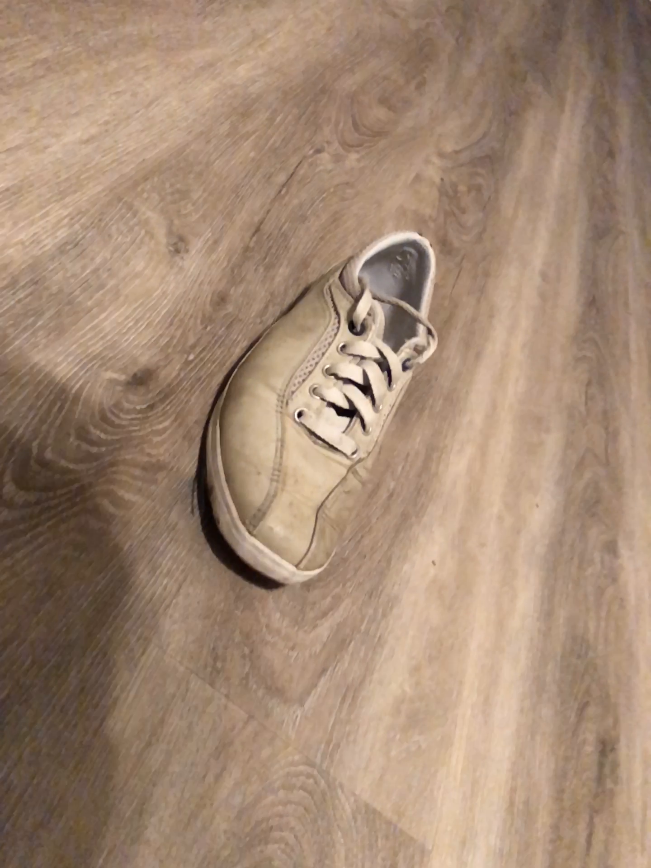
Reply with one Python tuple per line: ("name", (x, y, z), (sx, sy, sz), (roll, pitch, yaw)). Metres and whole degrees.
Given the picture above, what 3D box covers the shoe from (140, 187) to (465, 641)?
("shoe", (0.006, -0.028, 0.394), (0.090, 0.070, 0.251), (41, 41, -19))
